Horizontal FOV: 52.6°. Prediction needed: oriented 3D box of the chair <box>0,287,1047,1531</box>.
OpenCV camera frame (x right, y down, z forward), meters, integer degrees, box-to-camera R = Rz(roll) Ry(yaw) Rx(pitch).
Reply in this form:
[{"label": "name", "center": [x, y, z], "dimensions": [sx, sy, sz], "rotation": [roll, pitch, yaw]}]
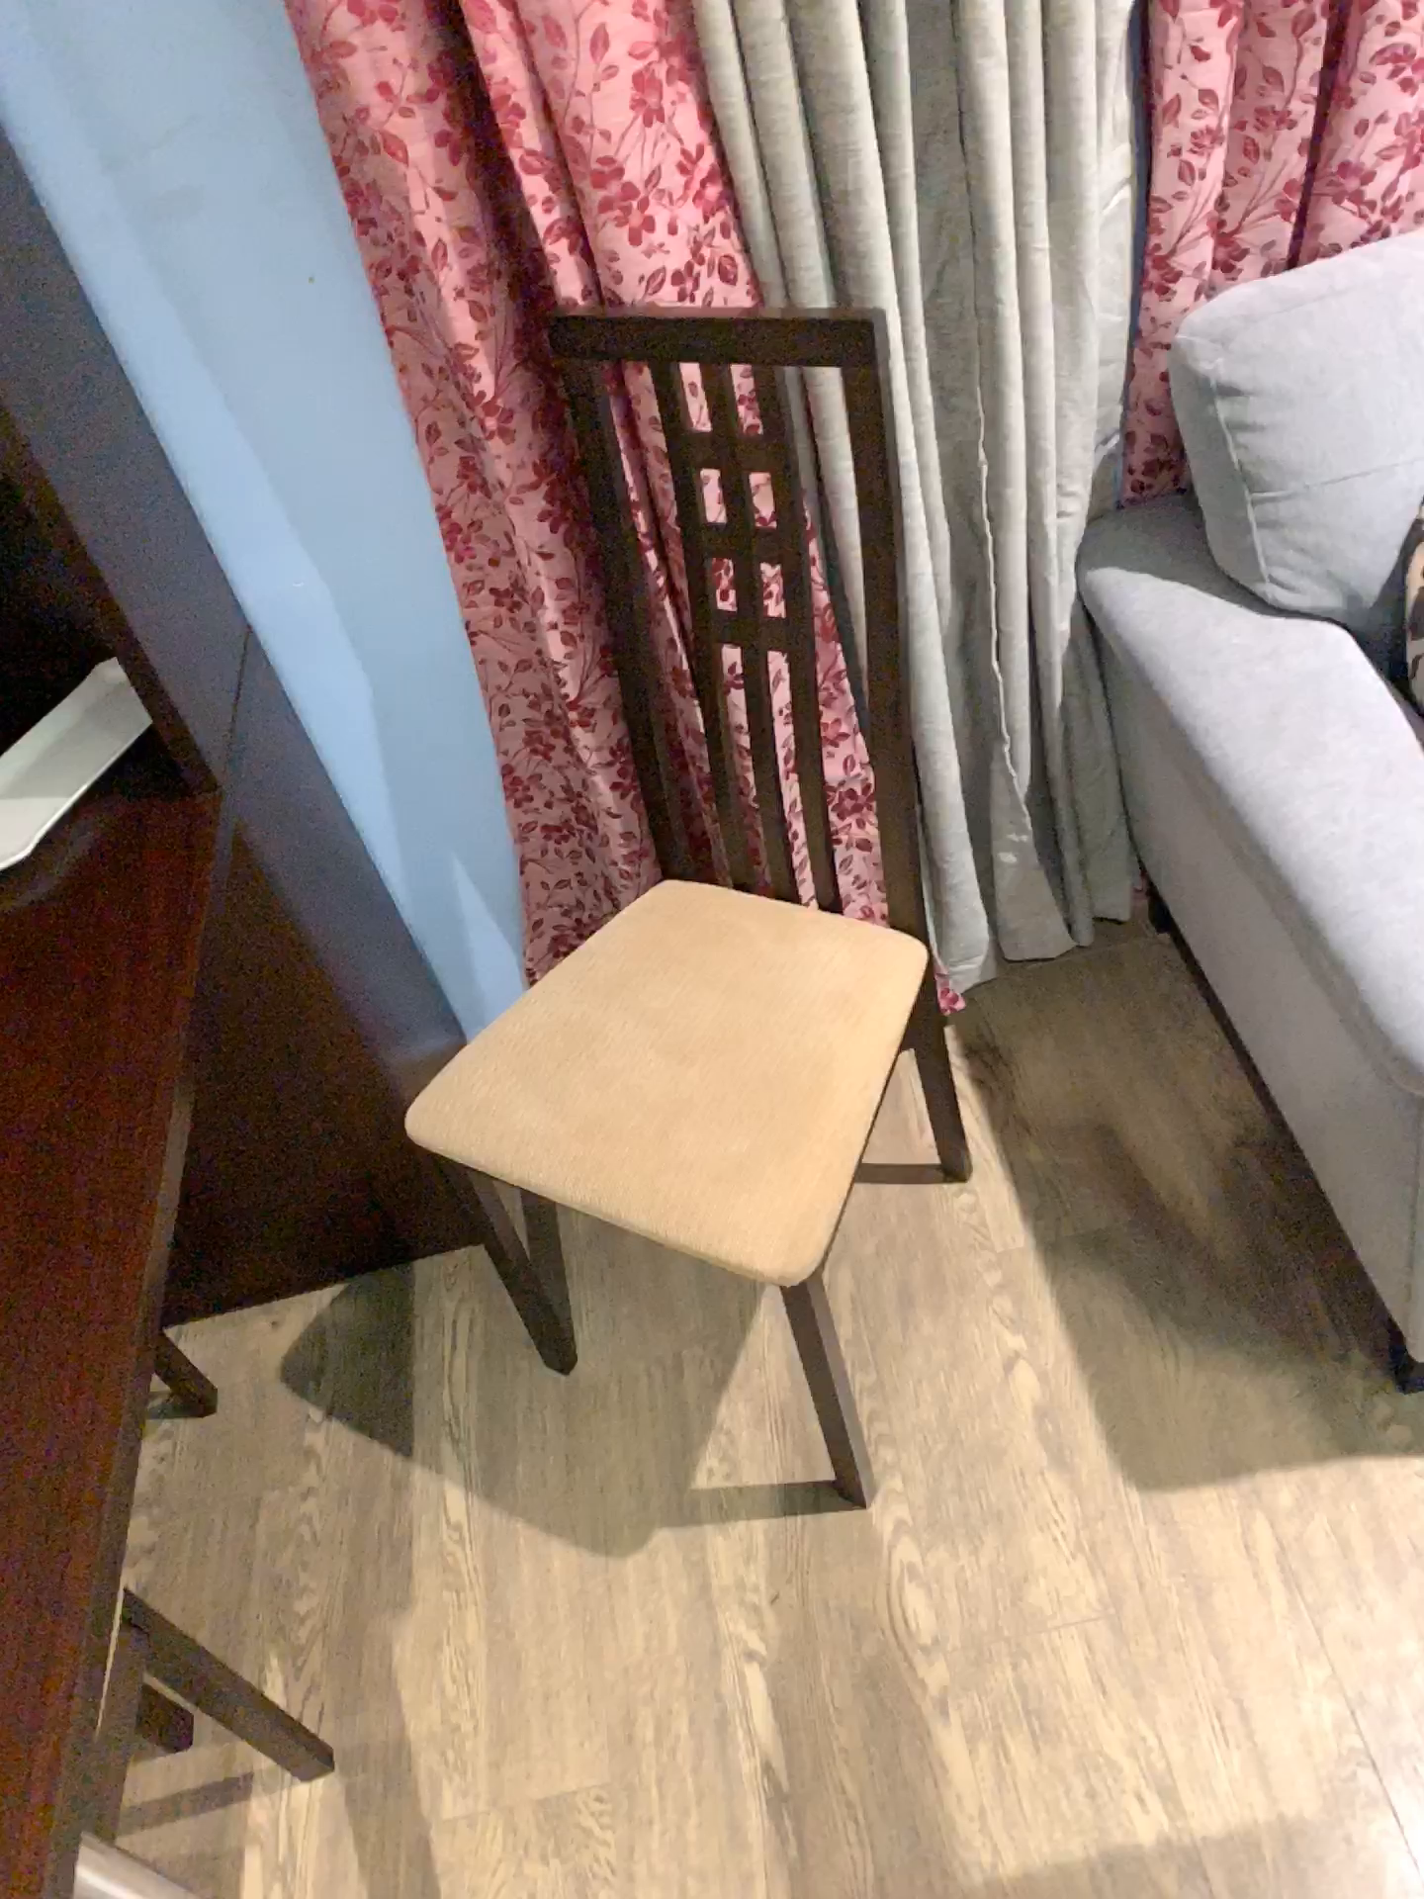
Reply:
[{"label": "chair", "center": [-0.057, -0.006, 1.339], "dimensions": [0.531, 0.976, 0.511], "rotation": [13, 50, 28]}]
